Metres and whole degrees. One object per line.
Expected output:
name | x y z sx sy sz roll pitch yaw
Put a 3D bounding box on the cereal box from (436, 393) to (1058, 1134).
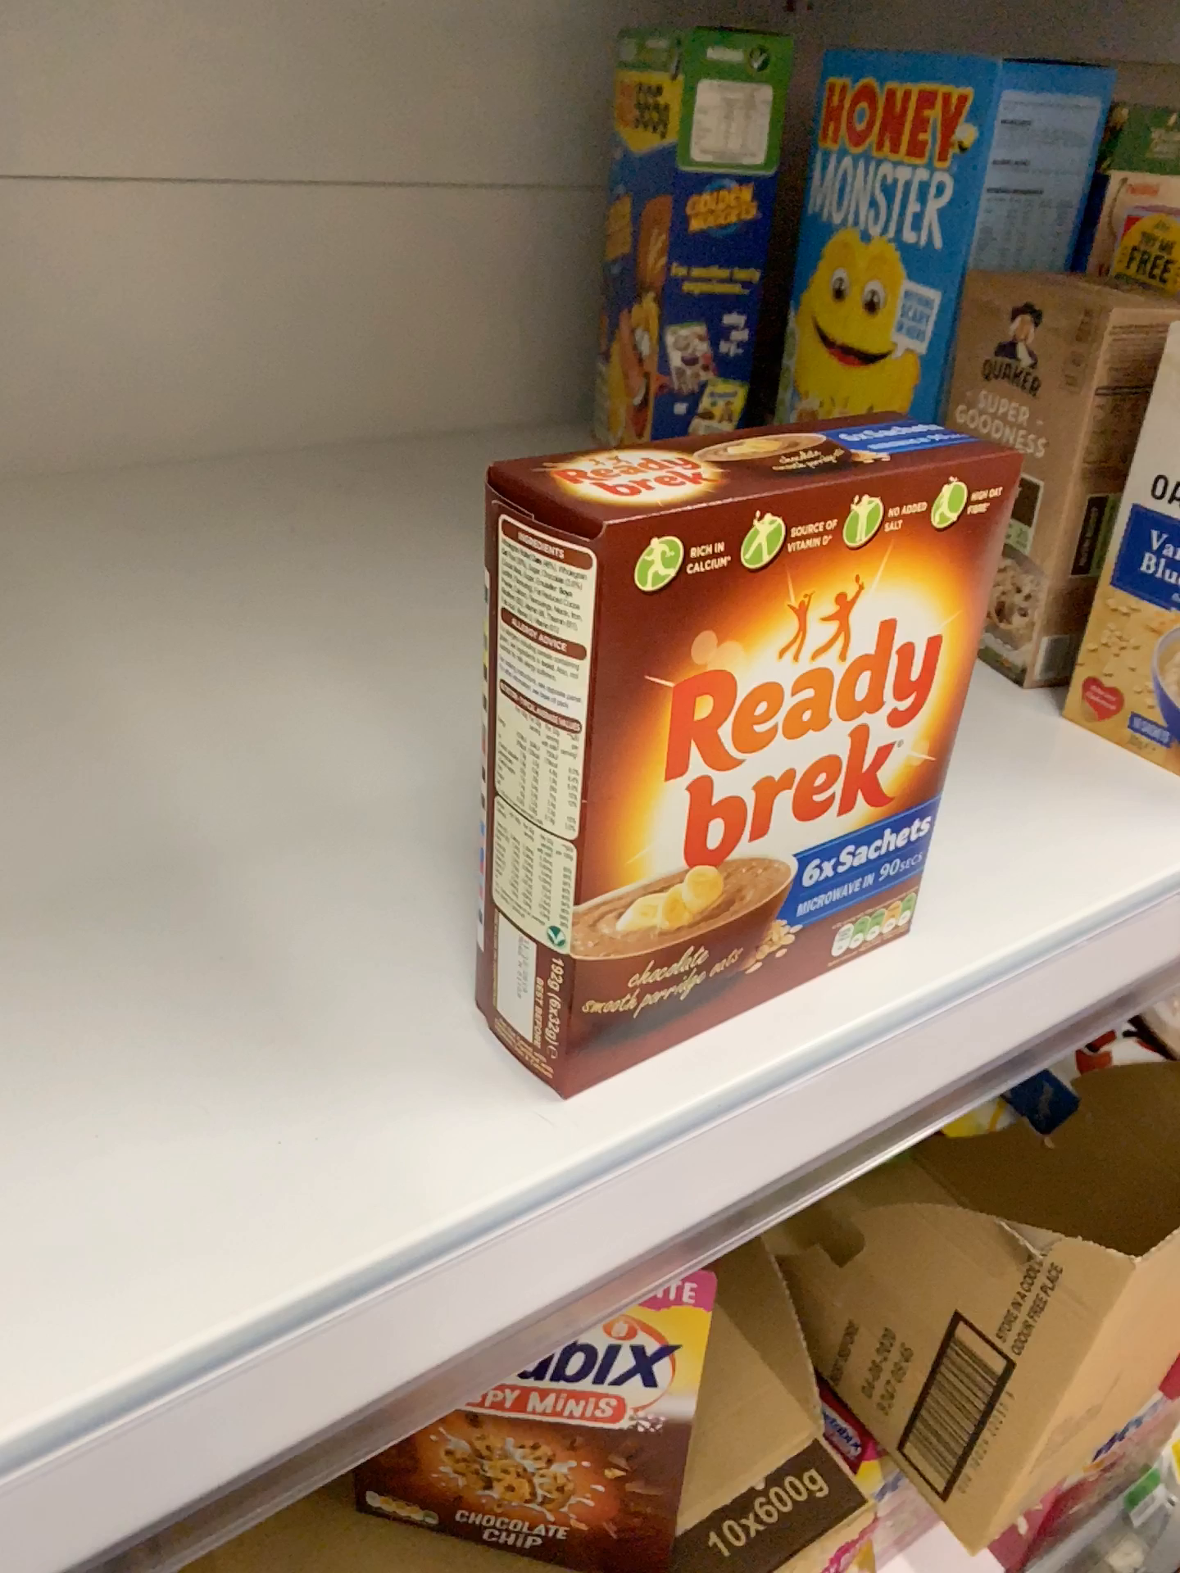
cereal box | 0.046 -0.015 0.386 0.181 0.188 0.060 -17 36 -34
